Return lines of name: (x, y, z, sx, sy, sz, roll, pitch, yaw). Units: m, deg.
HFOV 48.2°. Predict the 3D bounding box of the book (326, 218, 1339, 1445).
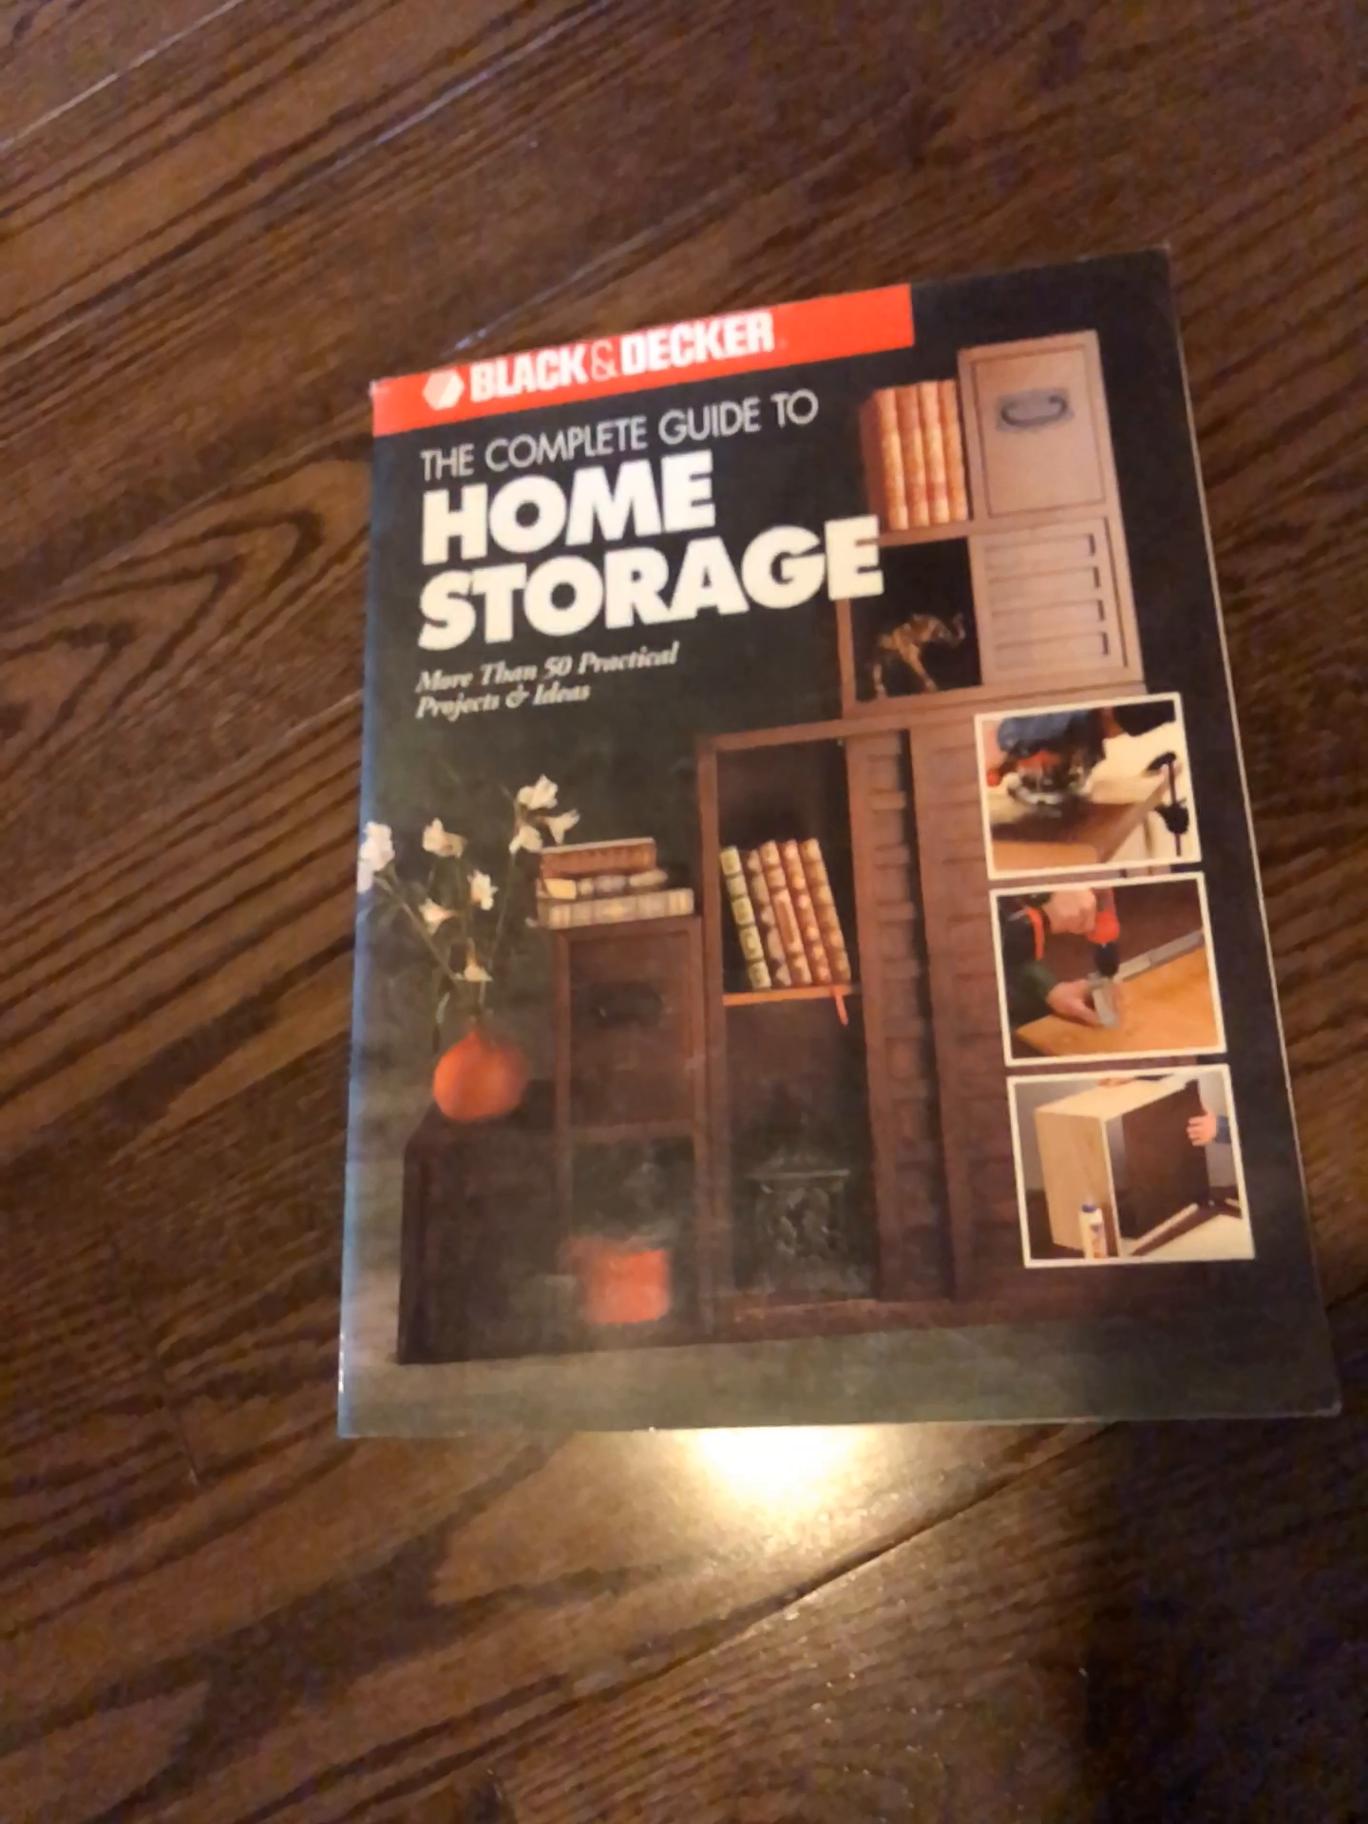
book: (0.022, -0.025, 0.374, 0.215, 0.020, 0.287, -5, 73, 11)
